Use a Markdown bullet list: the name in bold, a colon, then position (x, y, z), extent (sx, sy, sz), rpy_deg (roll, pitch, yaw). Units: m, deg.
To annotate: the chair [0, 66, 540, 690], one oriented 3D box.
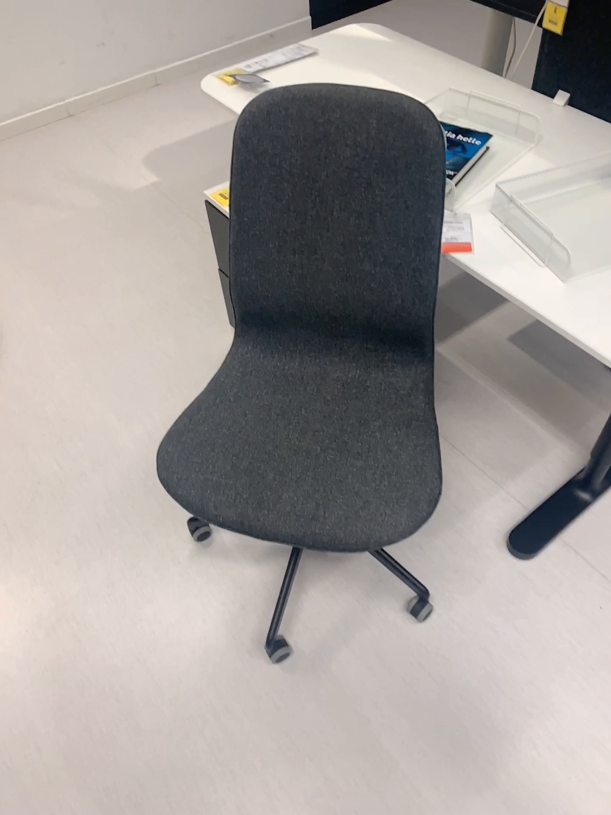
- **chair**: position (-0.005, 0.010, 1.209), extent (0.630, 0.997, 0.642), rpy_deg (7, 51, 9)
